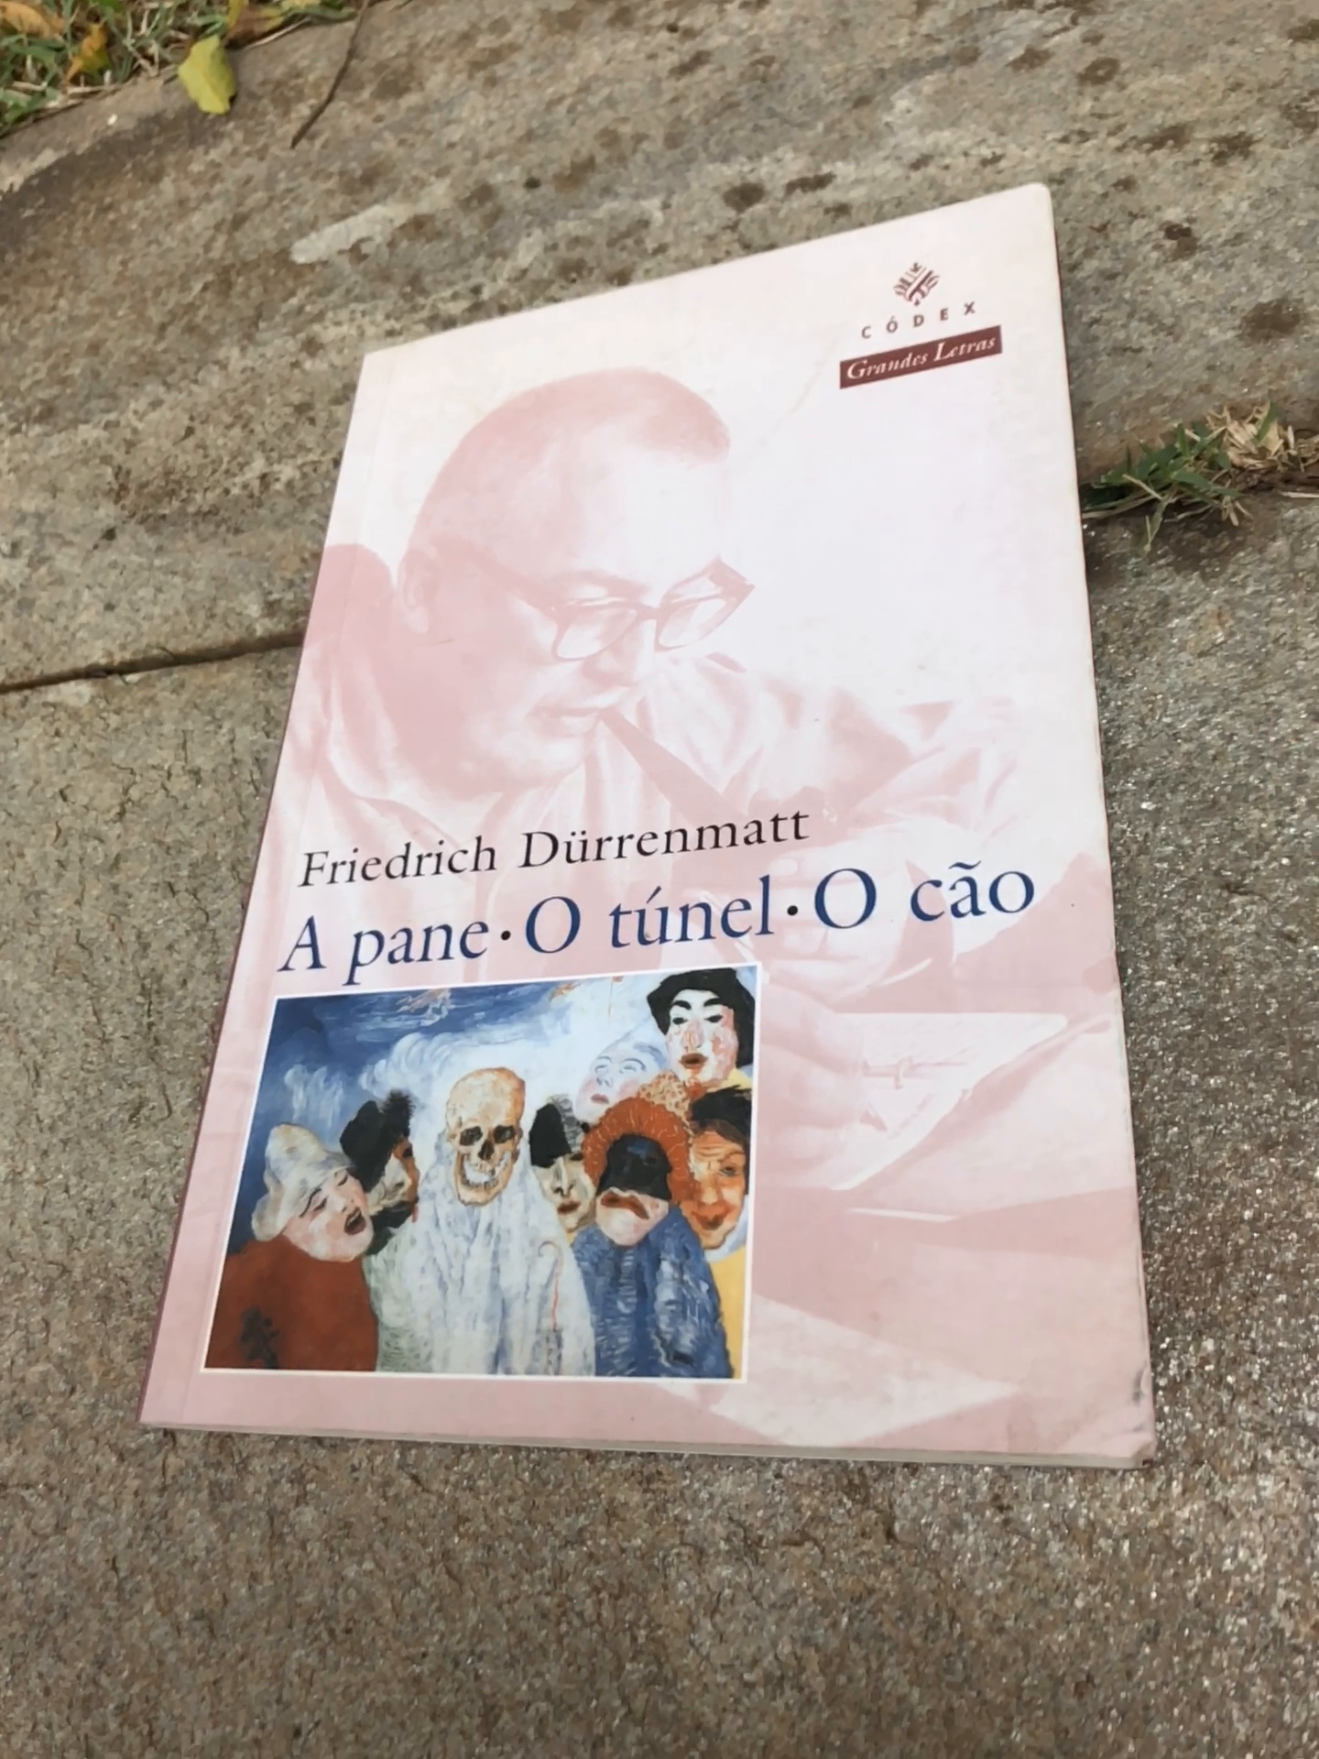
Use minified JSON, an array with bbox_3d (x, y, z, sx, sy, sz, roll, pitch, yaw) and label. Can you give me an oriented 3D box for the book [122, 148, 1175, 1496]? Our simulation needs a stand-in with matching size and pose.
[{"bbox_3d":[0.001,-0.020,0.236,0.138,0.020,0.211,-5,63,19],"label":"book"}]
